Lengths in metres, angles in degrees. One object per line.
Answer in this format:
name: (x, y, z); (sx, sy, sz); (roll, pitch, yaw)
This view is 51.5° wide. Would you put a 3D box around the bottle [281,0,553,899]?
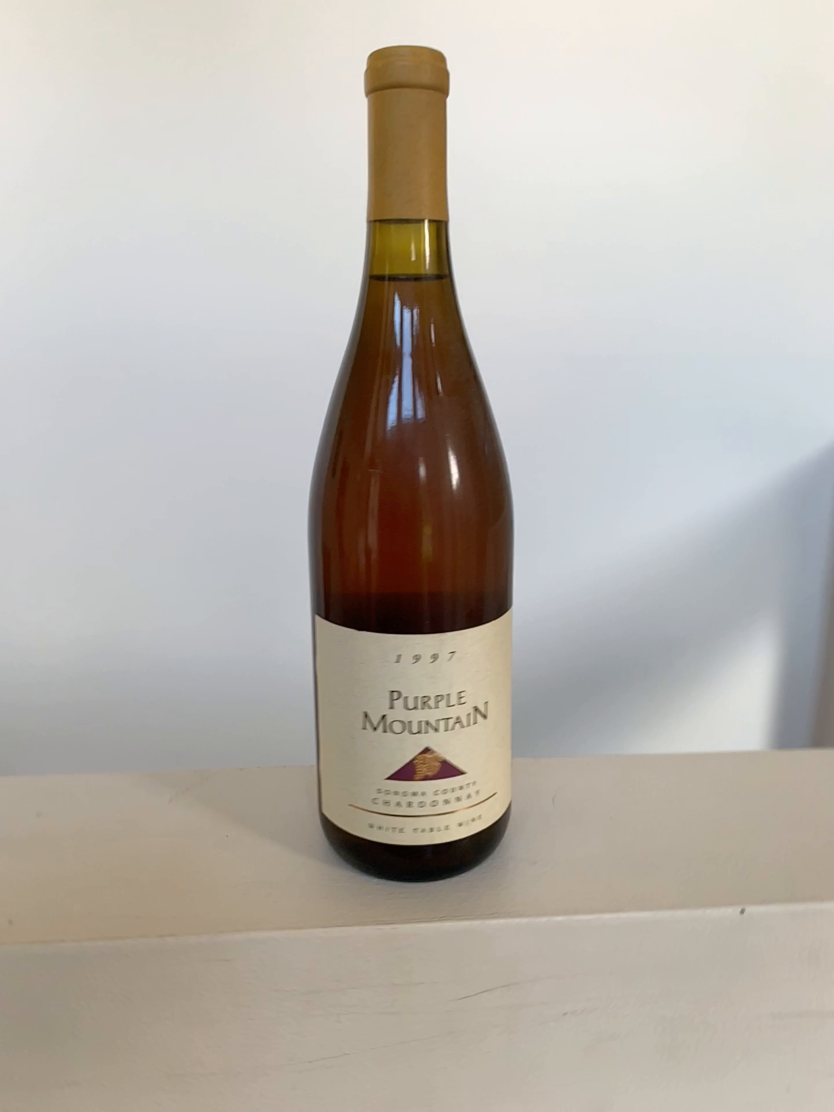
bottle: (-0.004, -0.032, 0.334); (0.080, 0.309, 0.080); (0, 14, 0)
